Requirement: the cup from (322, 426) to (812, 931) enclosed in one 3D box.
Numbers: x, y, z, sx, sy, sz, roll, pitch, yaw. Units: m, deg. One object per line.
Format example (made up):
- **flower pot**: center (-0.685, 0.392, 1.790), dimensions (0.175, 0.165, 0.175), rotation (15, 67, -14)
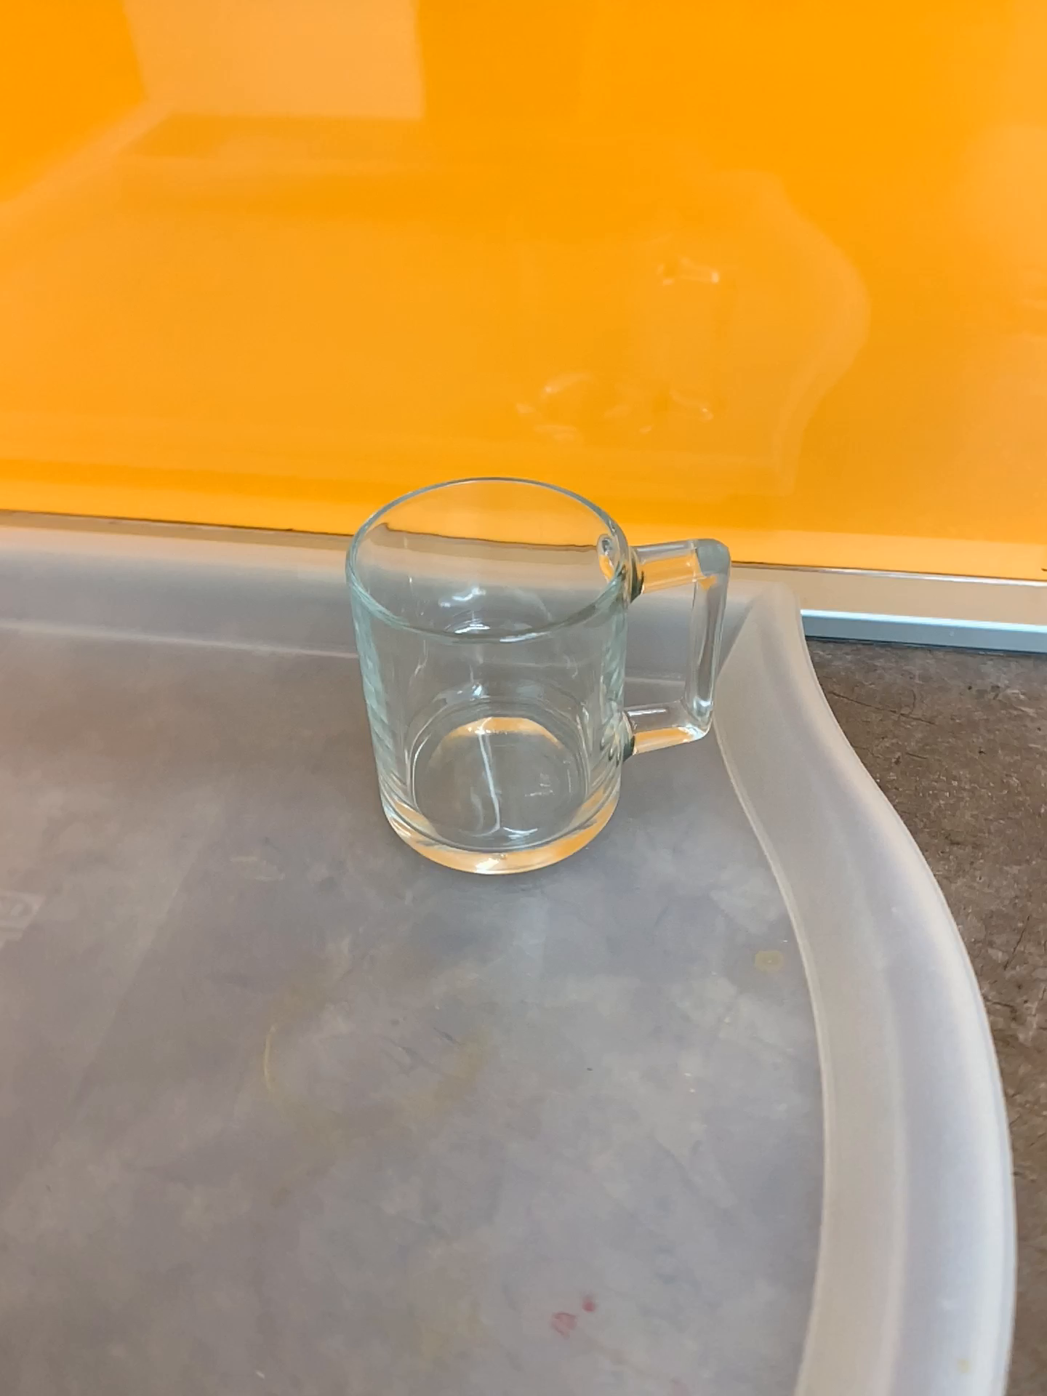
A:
- **cup**: center (0.006, -0.006, 0.308), dimensions (0.108, 0.104, 0.082), rotation (-7, 44, -8)
